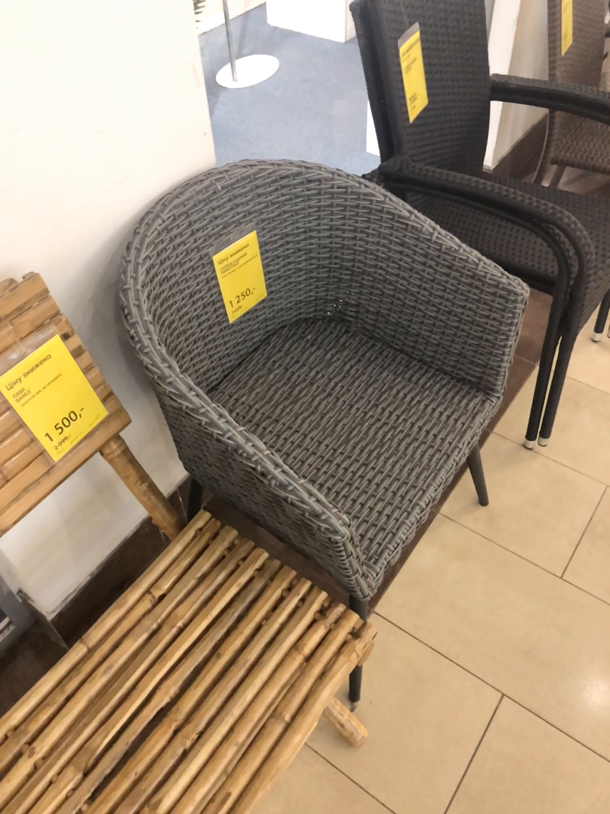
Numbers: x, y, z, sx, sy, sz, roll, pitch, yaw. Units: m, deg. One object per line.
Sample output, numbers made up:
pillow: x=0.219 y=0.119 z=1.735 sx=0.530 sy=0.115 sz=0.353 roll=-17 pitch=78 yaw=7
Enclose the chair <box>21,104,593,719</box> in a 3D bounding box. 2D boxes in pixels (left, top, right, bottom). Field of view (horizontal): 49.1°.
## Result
chair: x=0.036 y=0.015 z=1.152 sx=0.521 sy=0.738 sz=0.571 roll=26 pitch=54 yaw=24
